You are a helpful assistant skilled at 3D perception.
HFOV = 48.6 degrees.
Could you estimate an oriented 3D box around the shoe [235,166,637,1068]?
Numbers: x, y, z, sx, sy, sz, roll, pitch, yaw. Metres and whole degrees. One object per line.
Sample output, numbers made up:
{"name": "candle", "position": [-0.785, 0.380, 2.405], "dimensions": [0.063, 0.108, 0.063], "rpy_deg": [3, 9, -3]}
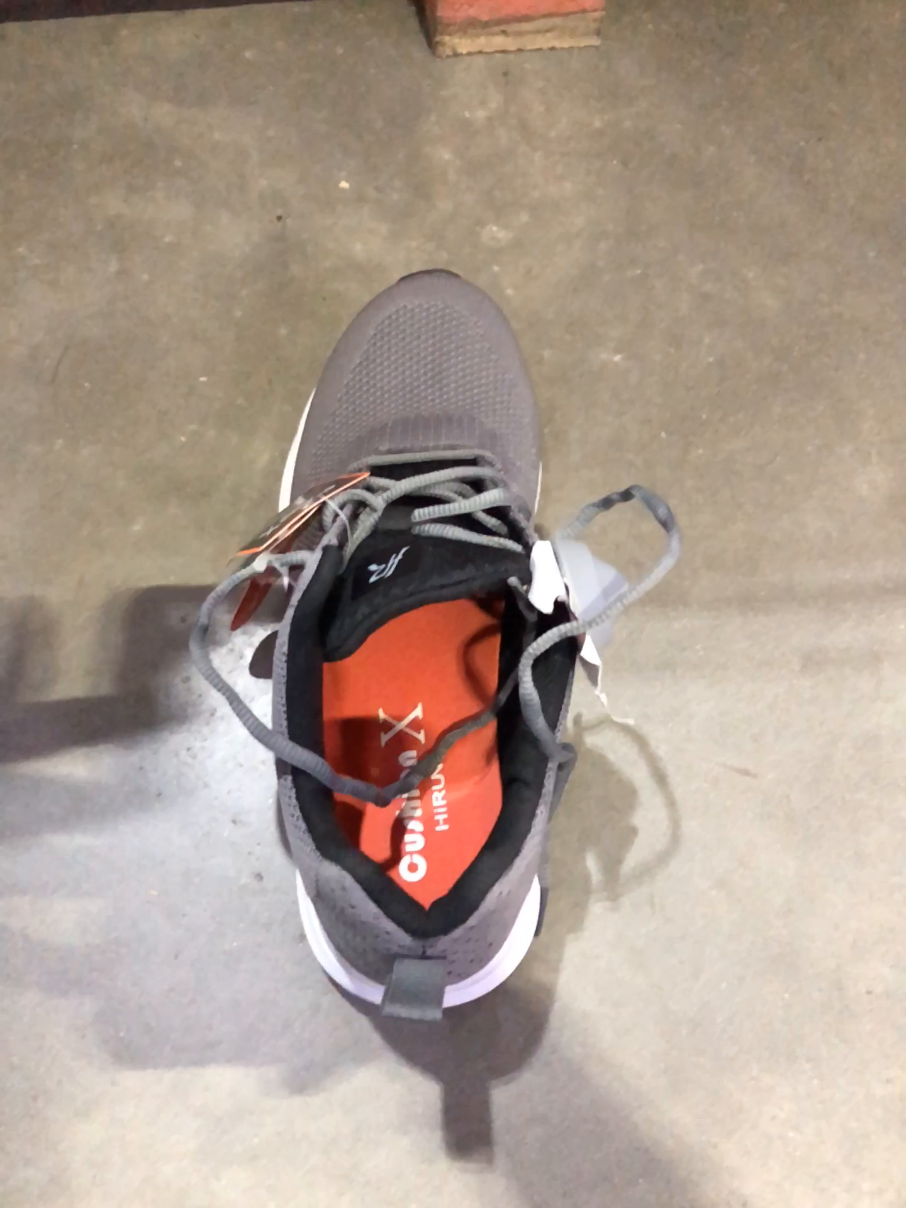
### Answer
{"name": "shoe", "position": [-0.019, -0.006, 0.382], "dimensions": [0.110, 0.100, 0.321], "rpy_deg": [-3, 67, -4]}
